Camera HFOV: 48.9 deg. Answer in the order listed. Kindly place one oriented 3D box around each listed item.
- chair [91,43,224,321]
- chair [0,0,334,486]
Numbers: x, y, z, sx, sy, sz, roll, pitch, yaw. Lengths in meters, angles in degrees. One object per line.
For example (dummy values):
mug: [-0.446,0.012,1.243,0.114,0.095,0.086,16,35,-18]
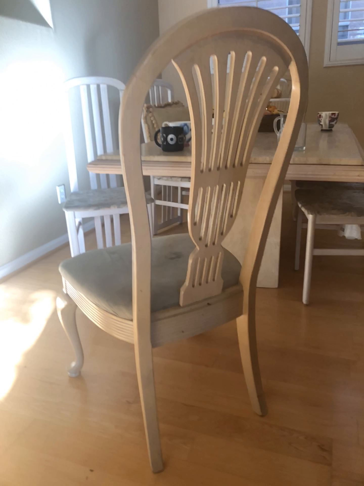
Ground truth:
chair: [-0.159,-0.375,2.482,0.631,1.452,0.673,-6,17,-11]
chair: [-0.082,0.024,1.184,0.592,1.292,0.632,-13,24,-27]
